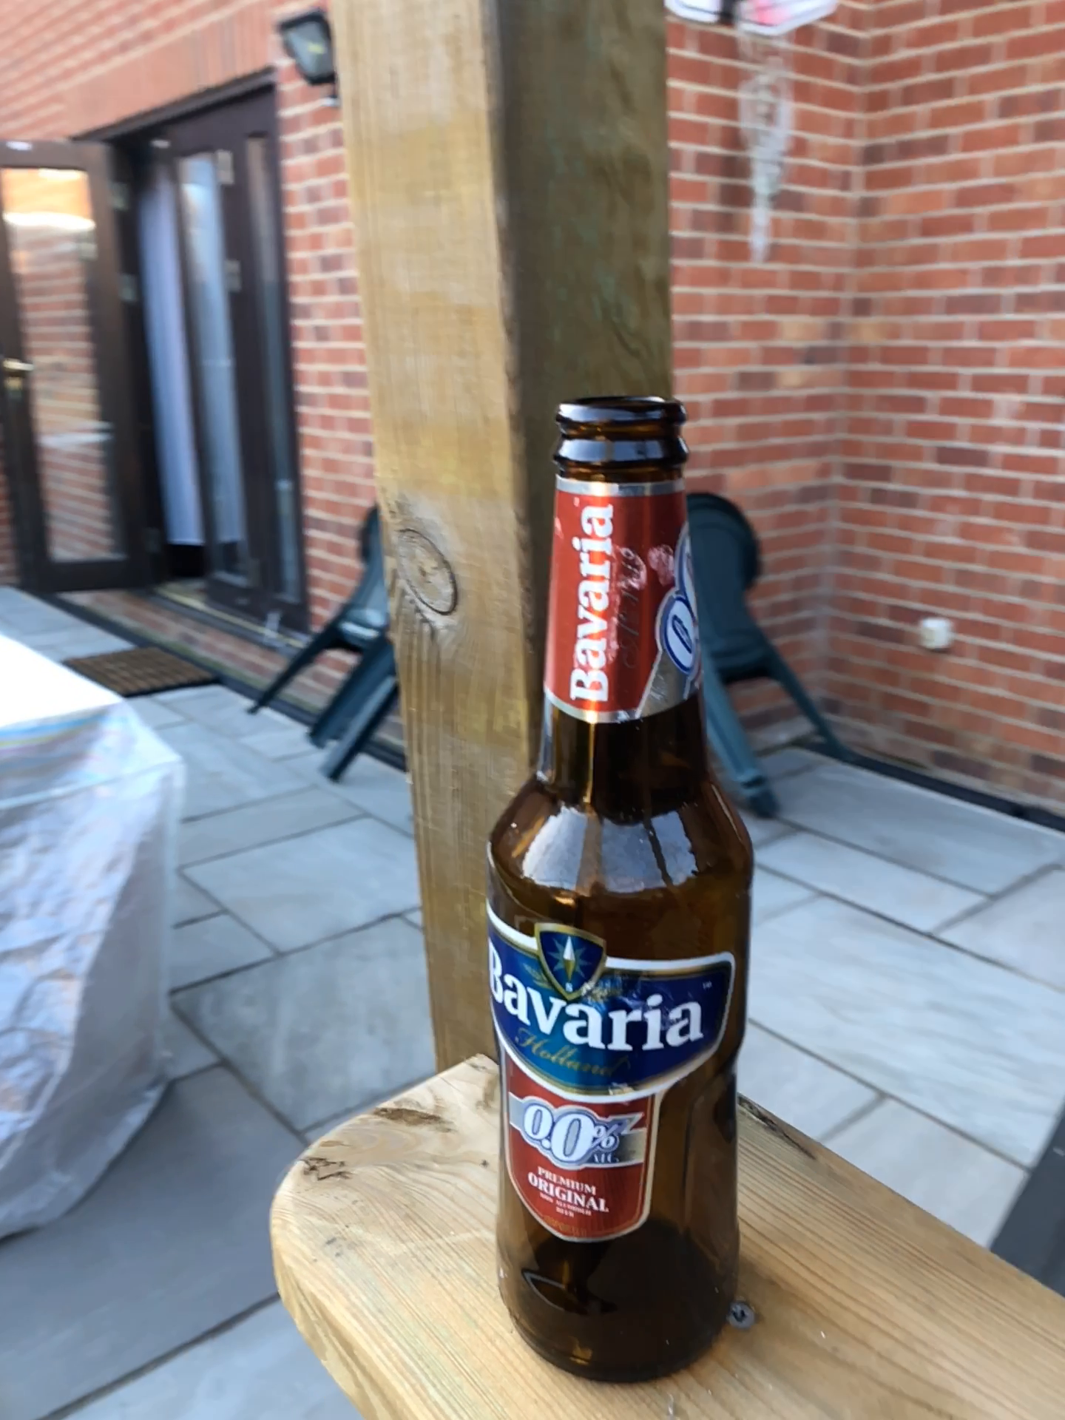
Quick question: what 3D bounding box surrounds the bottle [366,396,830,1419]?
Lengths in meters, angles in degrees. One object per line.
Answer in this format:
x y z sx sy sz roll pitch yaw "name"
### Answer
0.015 0.041 0.256 0.070 0.209 0.060 9 18 28 "bottle"
